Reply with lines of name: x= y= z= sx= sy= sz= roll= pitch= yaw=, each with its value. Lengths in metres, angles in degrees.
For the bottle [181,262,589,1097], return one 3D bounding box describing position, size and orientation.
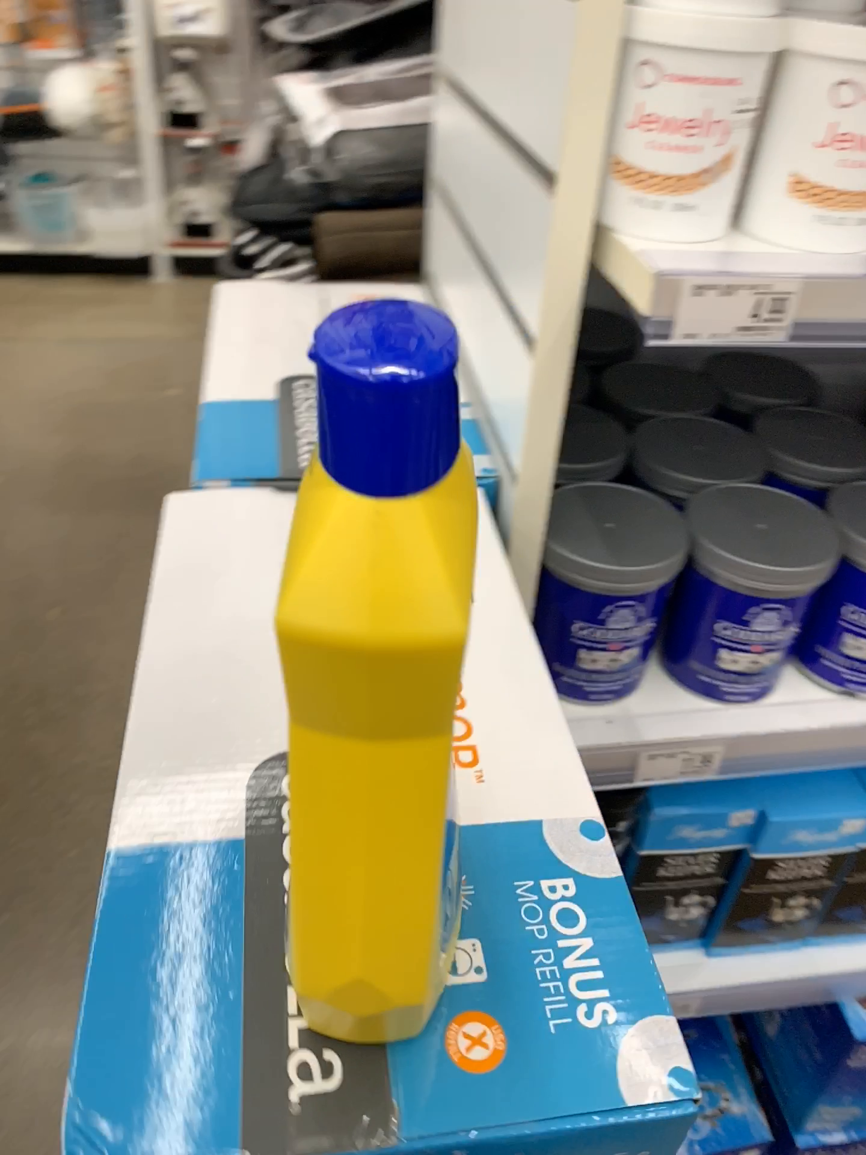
bottle: x=-0.012 y=0.033 z=0.228 sx=0.060 sy=0.189 sz=0.101 roll=4 pitch=36 yaw=-1
